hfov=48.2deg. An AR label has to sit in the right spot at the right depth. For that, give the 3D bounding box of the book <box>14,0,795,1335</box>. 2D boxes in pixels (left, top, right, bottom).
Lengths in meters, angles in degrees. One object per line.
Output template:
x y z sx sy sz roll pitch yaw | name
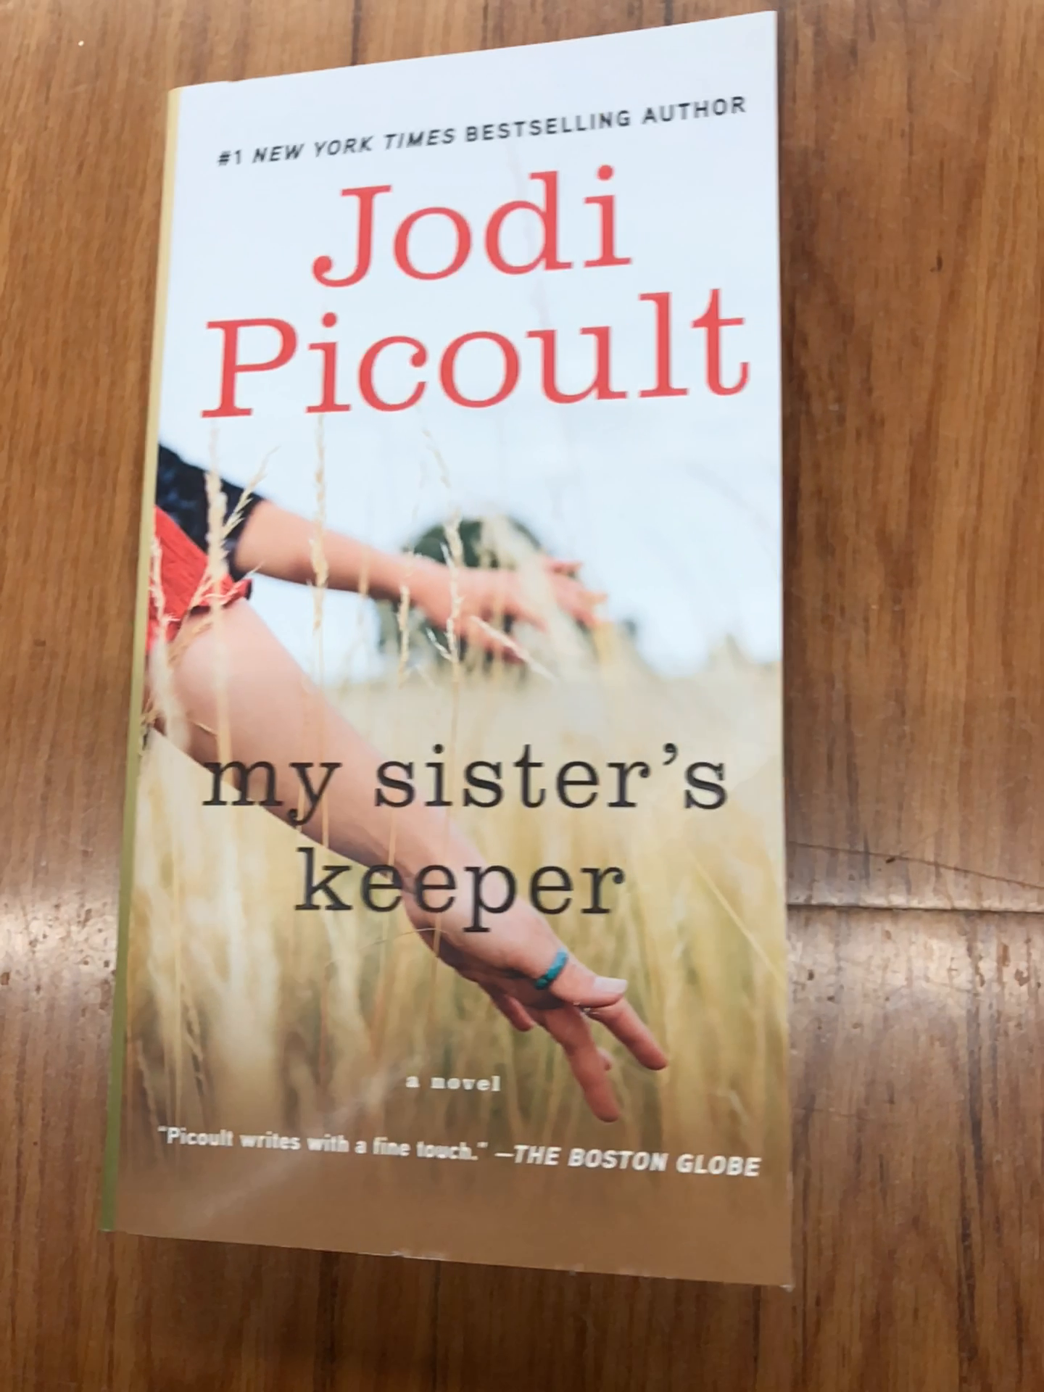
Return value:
-0.013 -0.010 0.191 0.110 0.040 0.190 0 83 9 | book
